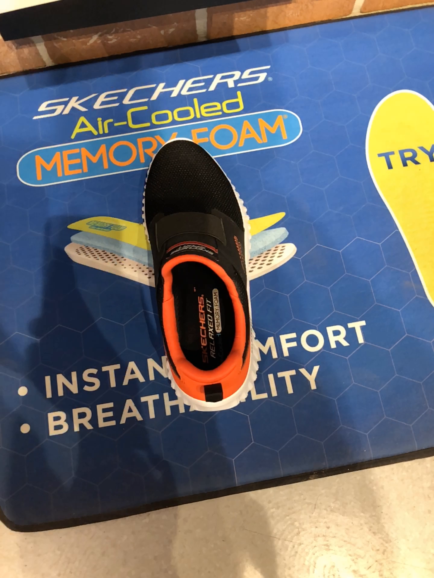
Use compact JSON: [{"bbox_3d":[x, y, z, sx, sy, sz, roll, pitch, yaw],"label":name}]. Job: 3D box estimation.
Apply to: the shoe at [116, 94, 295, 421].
[{"bbox_3d":[-0.015,-0.022,0.468,0.116,0.136,0.276,-8,75,-1],"label":"shoe"}]
